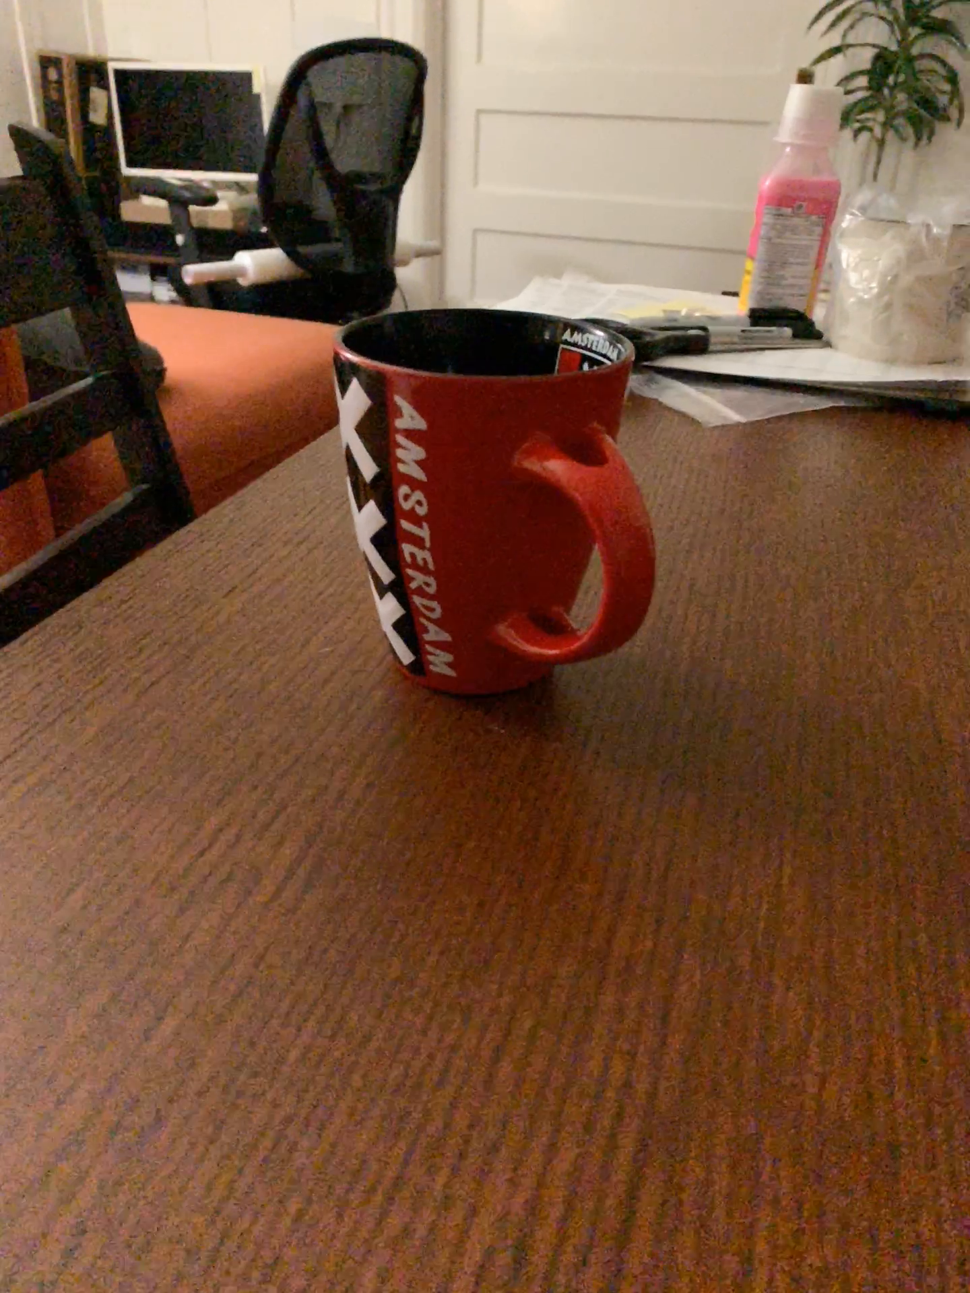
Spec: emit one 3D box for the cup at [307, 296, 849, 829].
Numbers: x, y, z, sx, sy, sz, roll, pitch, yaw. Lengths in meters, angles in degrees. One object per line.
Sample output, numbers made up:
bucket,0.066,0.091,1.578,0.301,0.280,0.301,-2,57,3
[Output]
cup,0.015,-0.037,0.292,0.090,0.099,0.131,-13,32,-25
